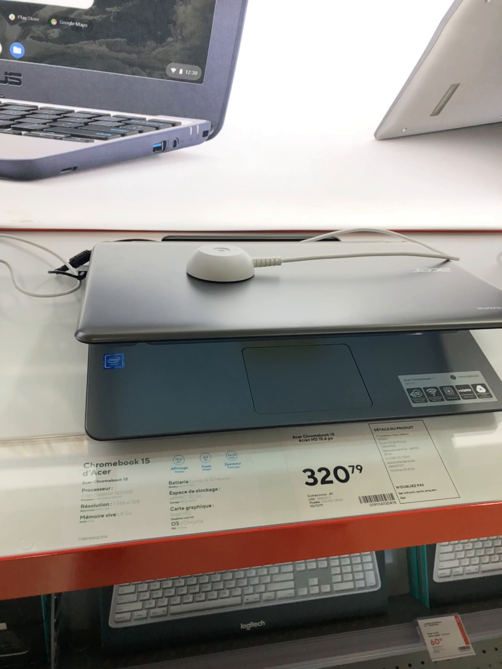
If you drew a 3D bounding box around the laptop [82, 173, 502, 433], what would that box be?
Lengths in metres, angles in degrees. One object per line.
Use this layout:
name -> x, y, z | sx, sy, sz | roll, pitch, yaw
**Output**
laptop -> 0.042, -0.046, 0.517 | 0.369, 0.088, 0.249 | -2, 43, -11
